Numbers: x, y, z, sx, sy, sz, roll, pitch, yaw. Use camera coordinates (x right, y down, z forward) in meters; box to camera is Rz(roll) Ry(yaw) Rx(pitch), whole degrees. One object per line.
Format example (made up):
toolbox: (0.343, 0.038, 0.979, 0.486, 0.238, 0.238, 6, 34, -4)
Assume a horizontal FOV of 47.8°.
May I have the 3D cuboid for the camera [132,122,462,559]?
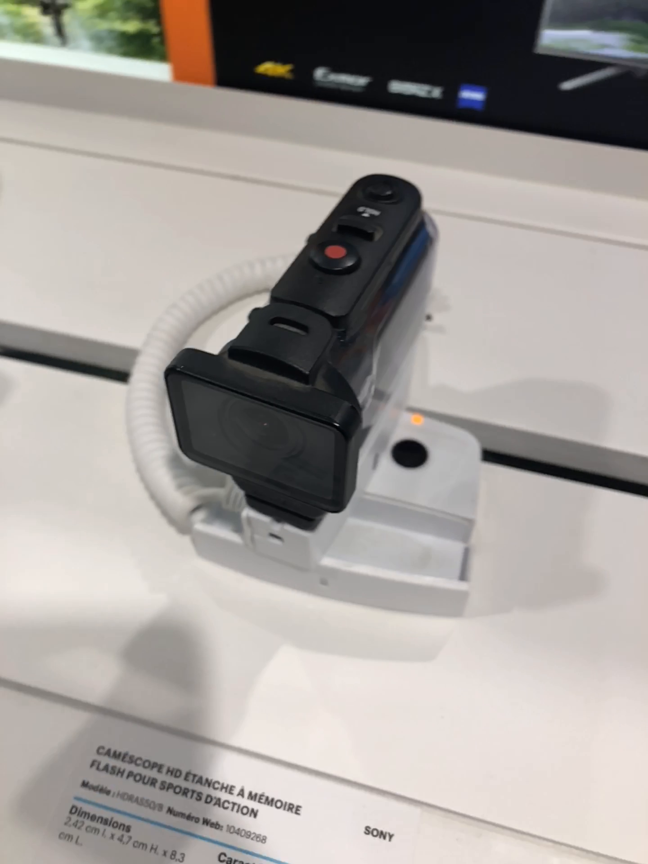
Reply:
camera: (-0.001, -0.024, 0.196, 0.045, 0.064, 0.088, 18, 62, 14)
